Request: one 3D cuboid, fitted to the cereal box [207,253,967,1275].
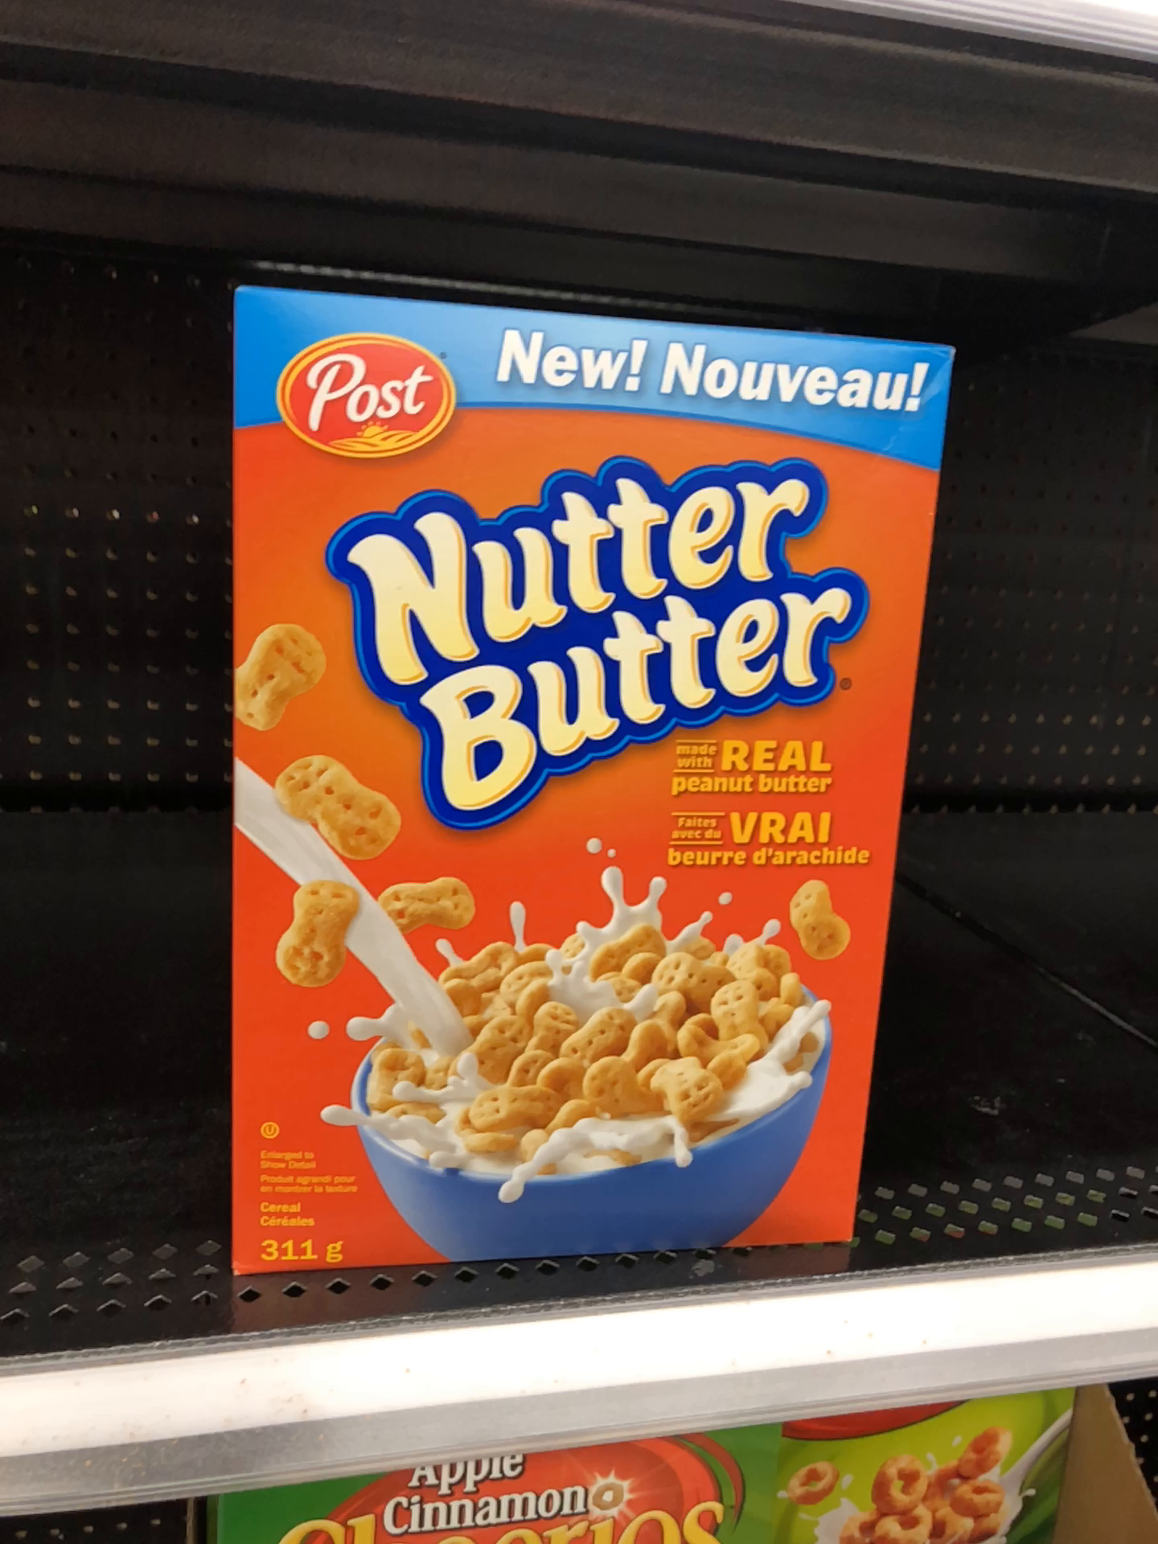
[{"bbox_3d":[-0.006,0.004,0.389,0.200,0.279,0.060,1,12,-11],"label":"cereal box"}]
